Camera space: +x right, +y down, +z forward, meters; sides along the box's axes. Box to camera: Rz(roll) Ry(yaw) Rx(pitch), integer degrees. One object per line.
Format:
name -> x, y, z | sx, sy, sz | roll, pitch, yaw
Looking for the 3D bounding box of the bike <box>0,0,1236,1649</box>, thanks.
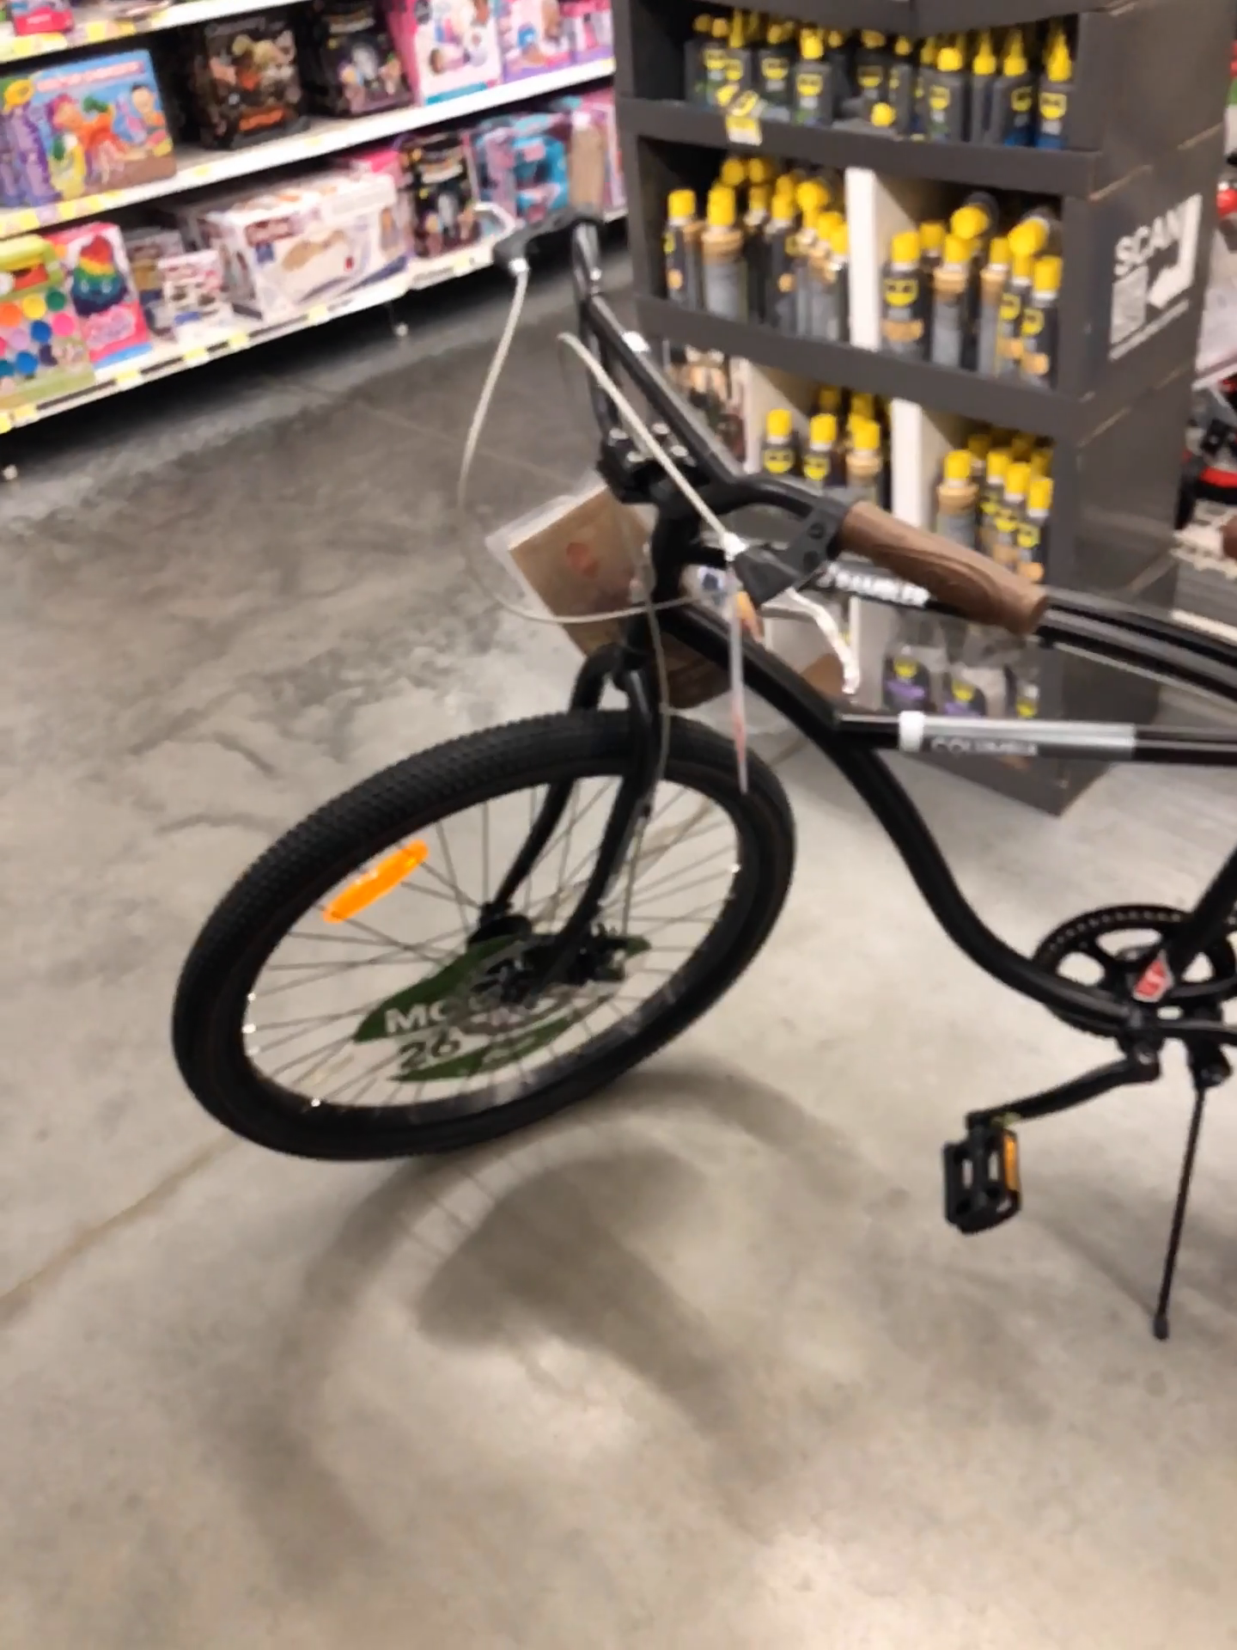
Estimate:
bike -> 0.397, 0.008, 0.995 | 1.582, 0.975, 0.656 | 3, 38, 4
